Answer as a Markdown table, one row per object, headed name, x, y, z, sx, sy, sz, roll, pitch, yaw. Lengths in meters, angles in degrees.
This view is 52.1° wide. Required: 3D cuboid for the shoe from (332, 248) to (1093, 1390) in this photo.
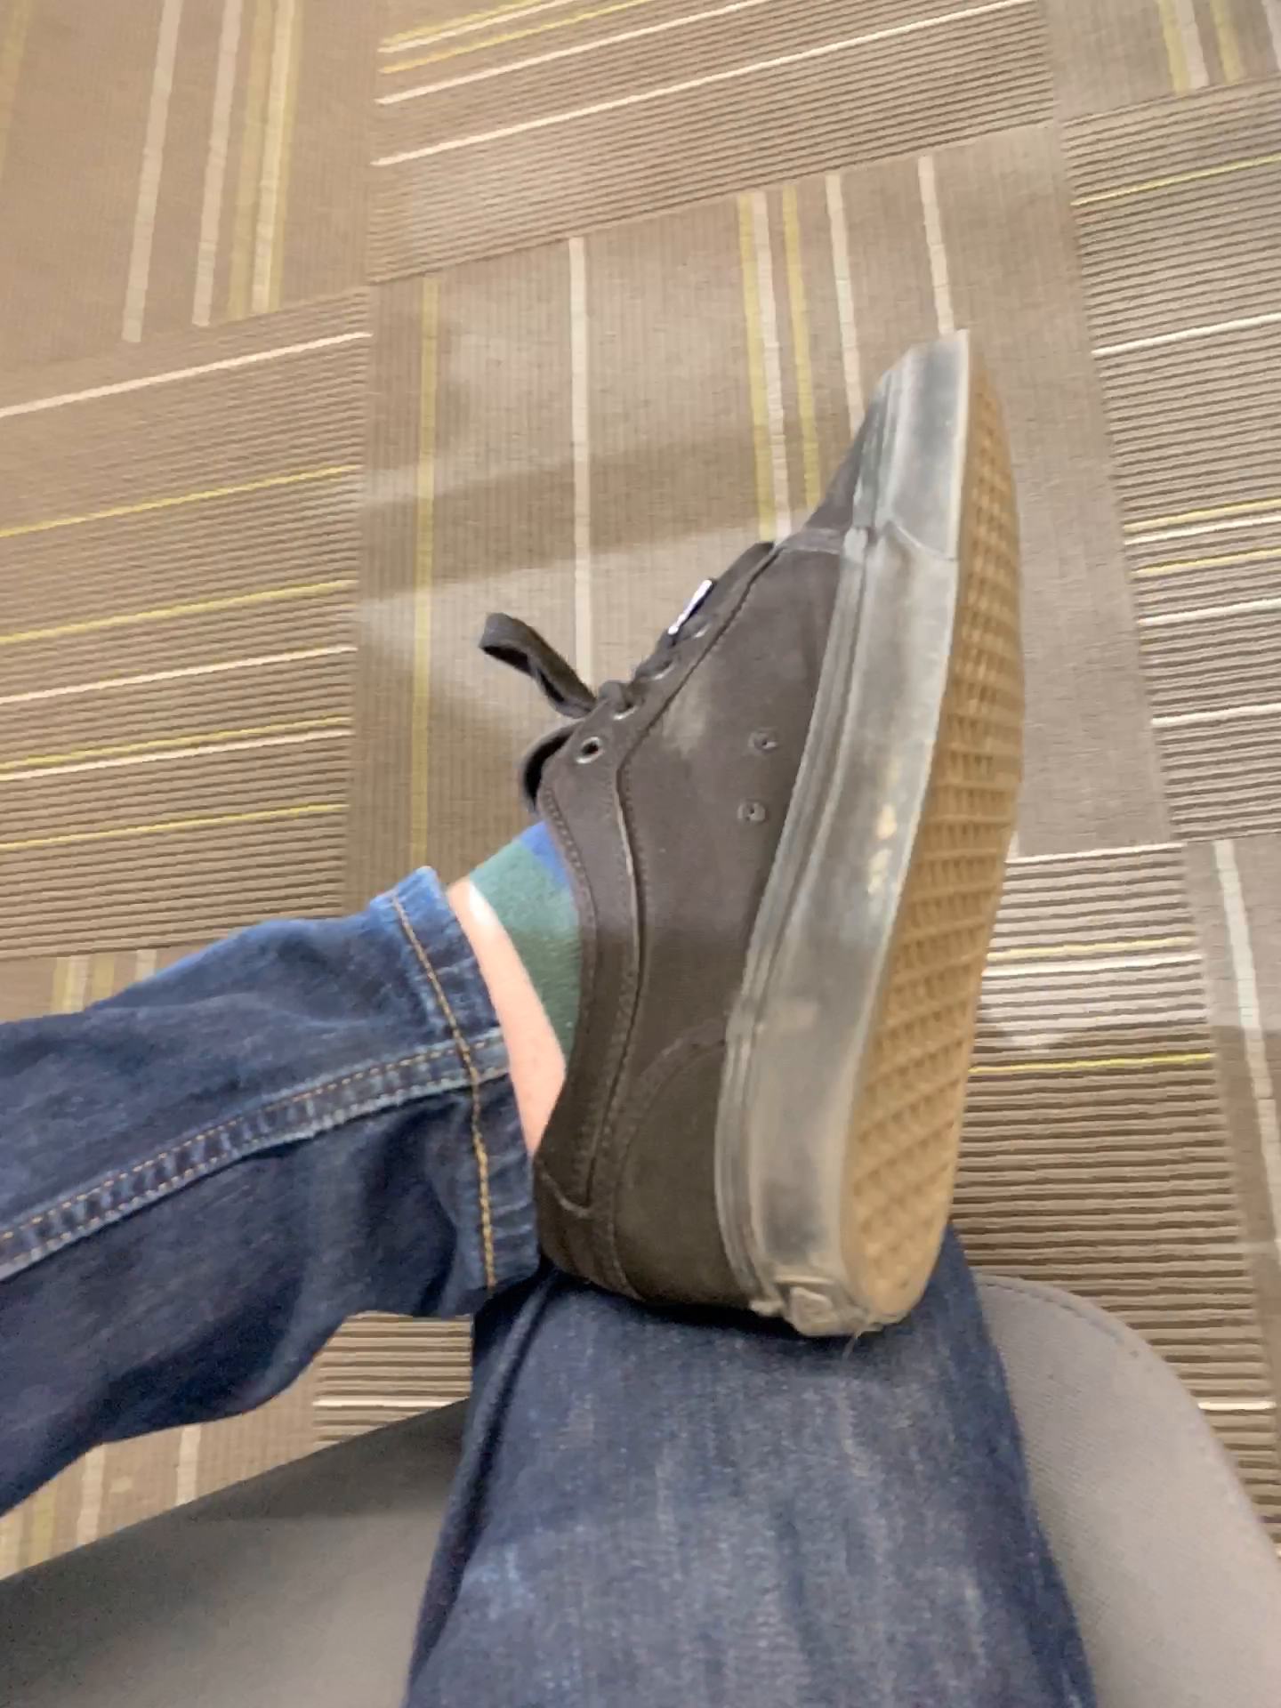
| name | x | y | z | sx | sy | sz | roll | pitch | yaw |
| --- | --- | --- | --- | --- | --- | --- | --- | --- | --- |
| shoe | 0.036 | -0.007 | 0.362 | 0.134 | 0.120 | 0.260 | 3 | 73 | 27 |
